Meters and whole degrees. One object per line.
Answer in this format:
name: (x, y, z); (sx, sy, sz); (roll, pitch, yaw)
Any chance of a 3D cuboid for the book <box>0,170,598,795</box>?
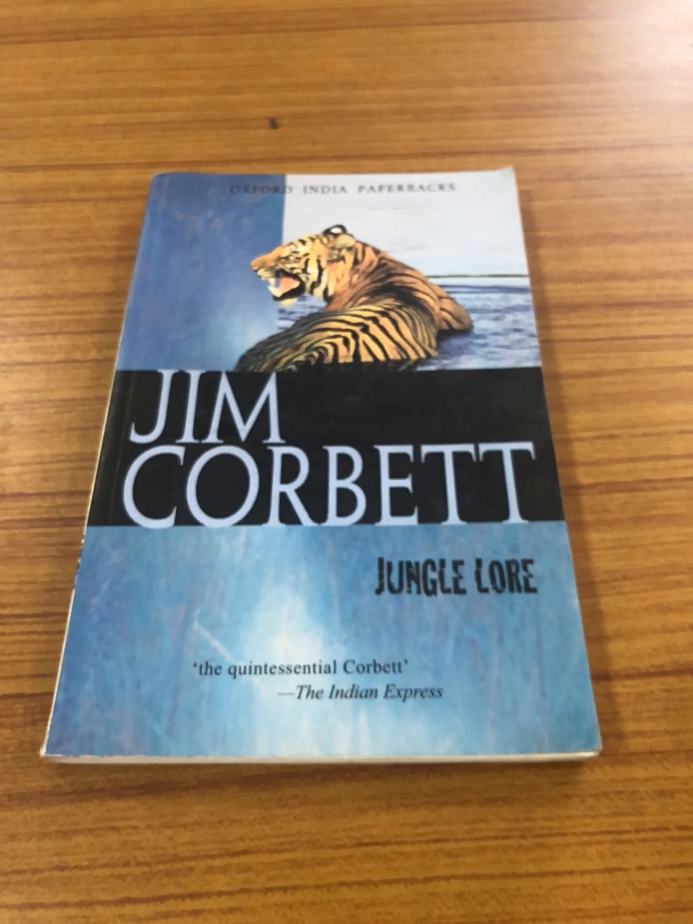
book: (-0.014, -0.013, 0.251); (0.150, 0.010, 0.220); (-1, 60, 1)
